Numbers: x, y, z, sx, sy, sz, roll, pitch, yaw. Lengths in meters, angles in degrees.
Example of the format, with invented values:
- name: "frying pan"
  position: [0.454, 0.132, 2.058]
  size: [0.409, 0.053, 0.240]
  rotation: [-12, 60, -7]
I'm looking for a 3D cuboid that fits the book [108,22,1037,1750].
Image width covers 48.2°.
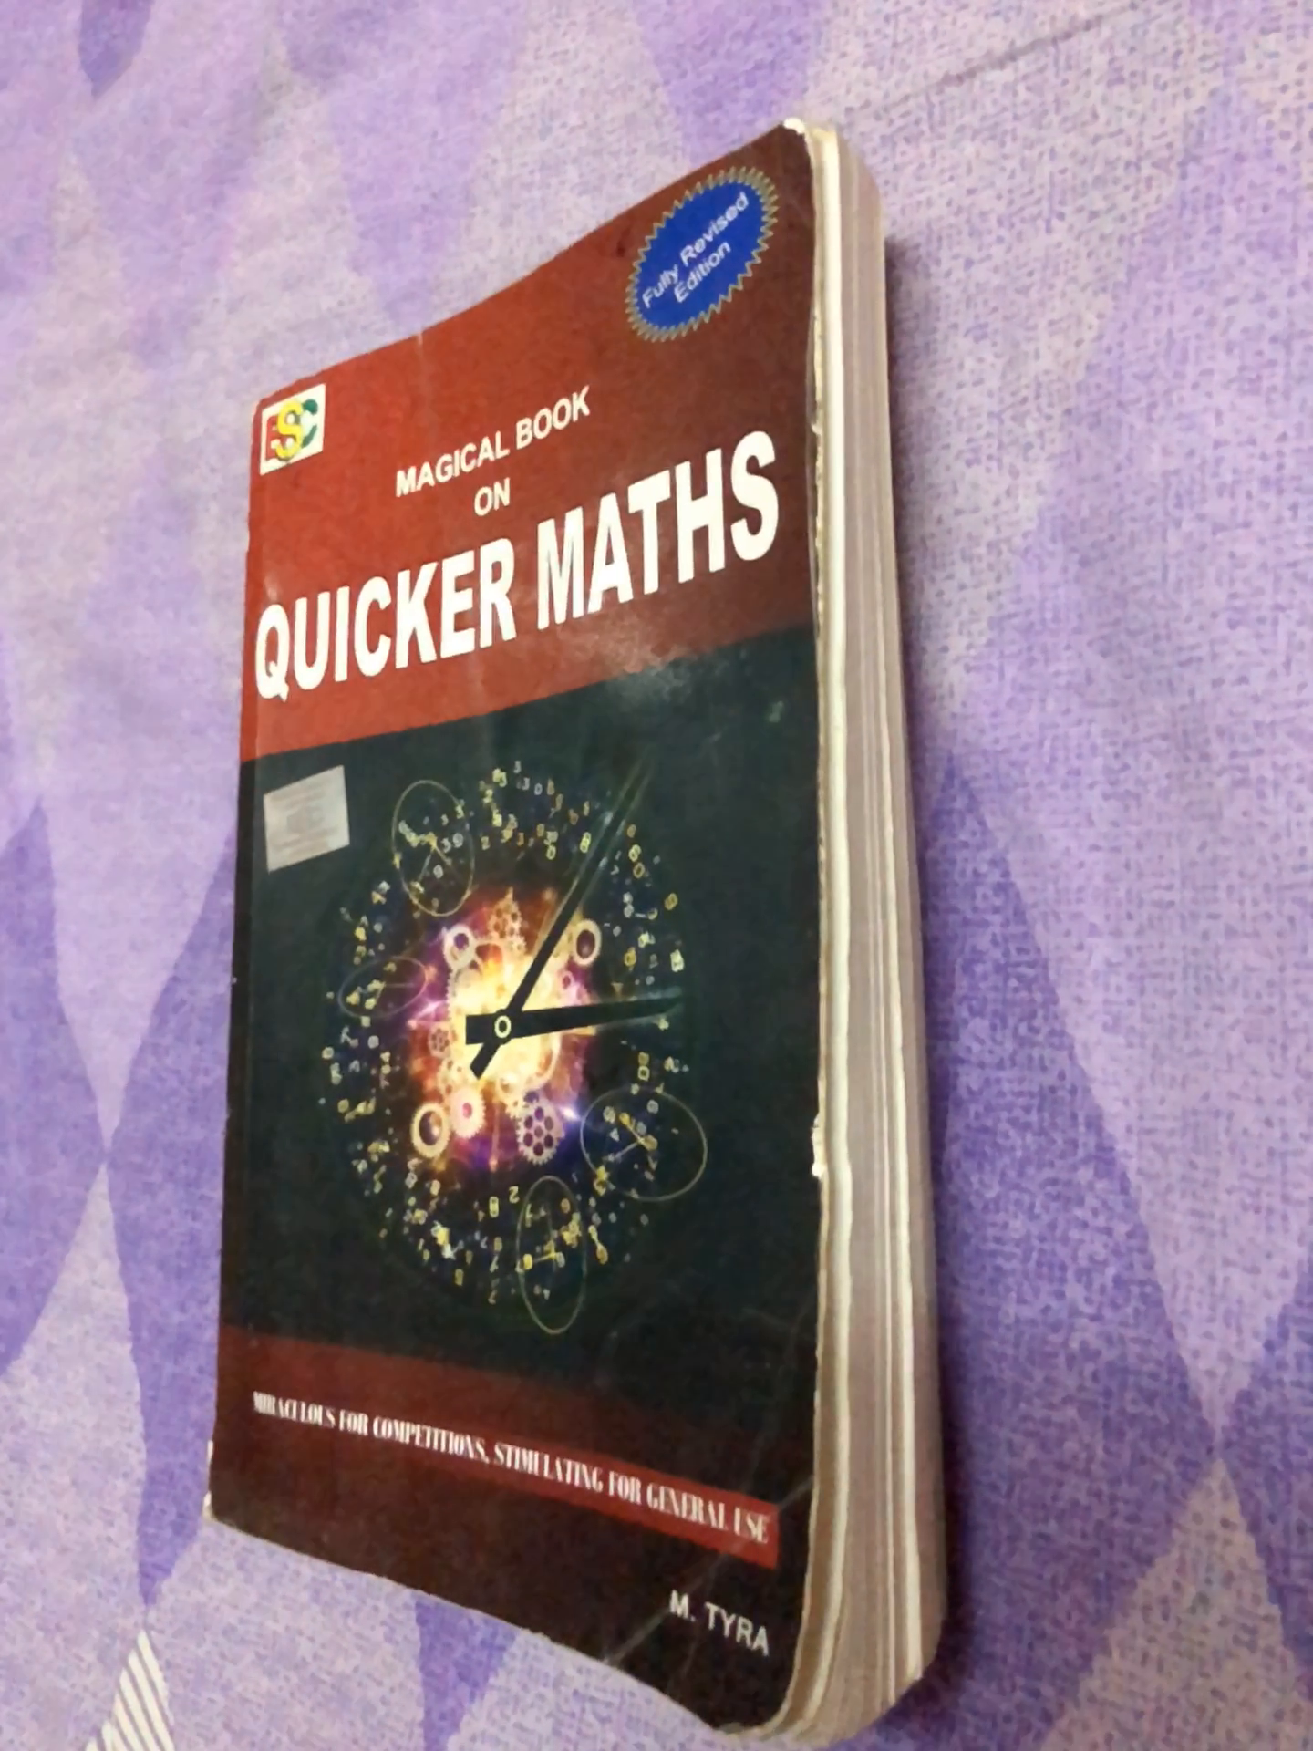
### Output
- name: "book"
  position: [-0.022, 0.007, 0.244]
  size: [0.151, 0.050, 0.220]
  rotation: [-7, 79, 40]
